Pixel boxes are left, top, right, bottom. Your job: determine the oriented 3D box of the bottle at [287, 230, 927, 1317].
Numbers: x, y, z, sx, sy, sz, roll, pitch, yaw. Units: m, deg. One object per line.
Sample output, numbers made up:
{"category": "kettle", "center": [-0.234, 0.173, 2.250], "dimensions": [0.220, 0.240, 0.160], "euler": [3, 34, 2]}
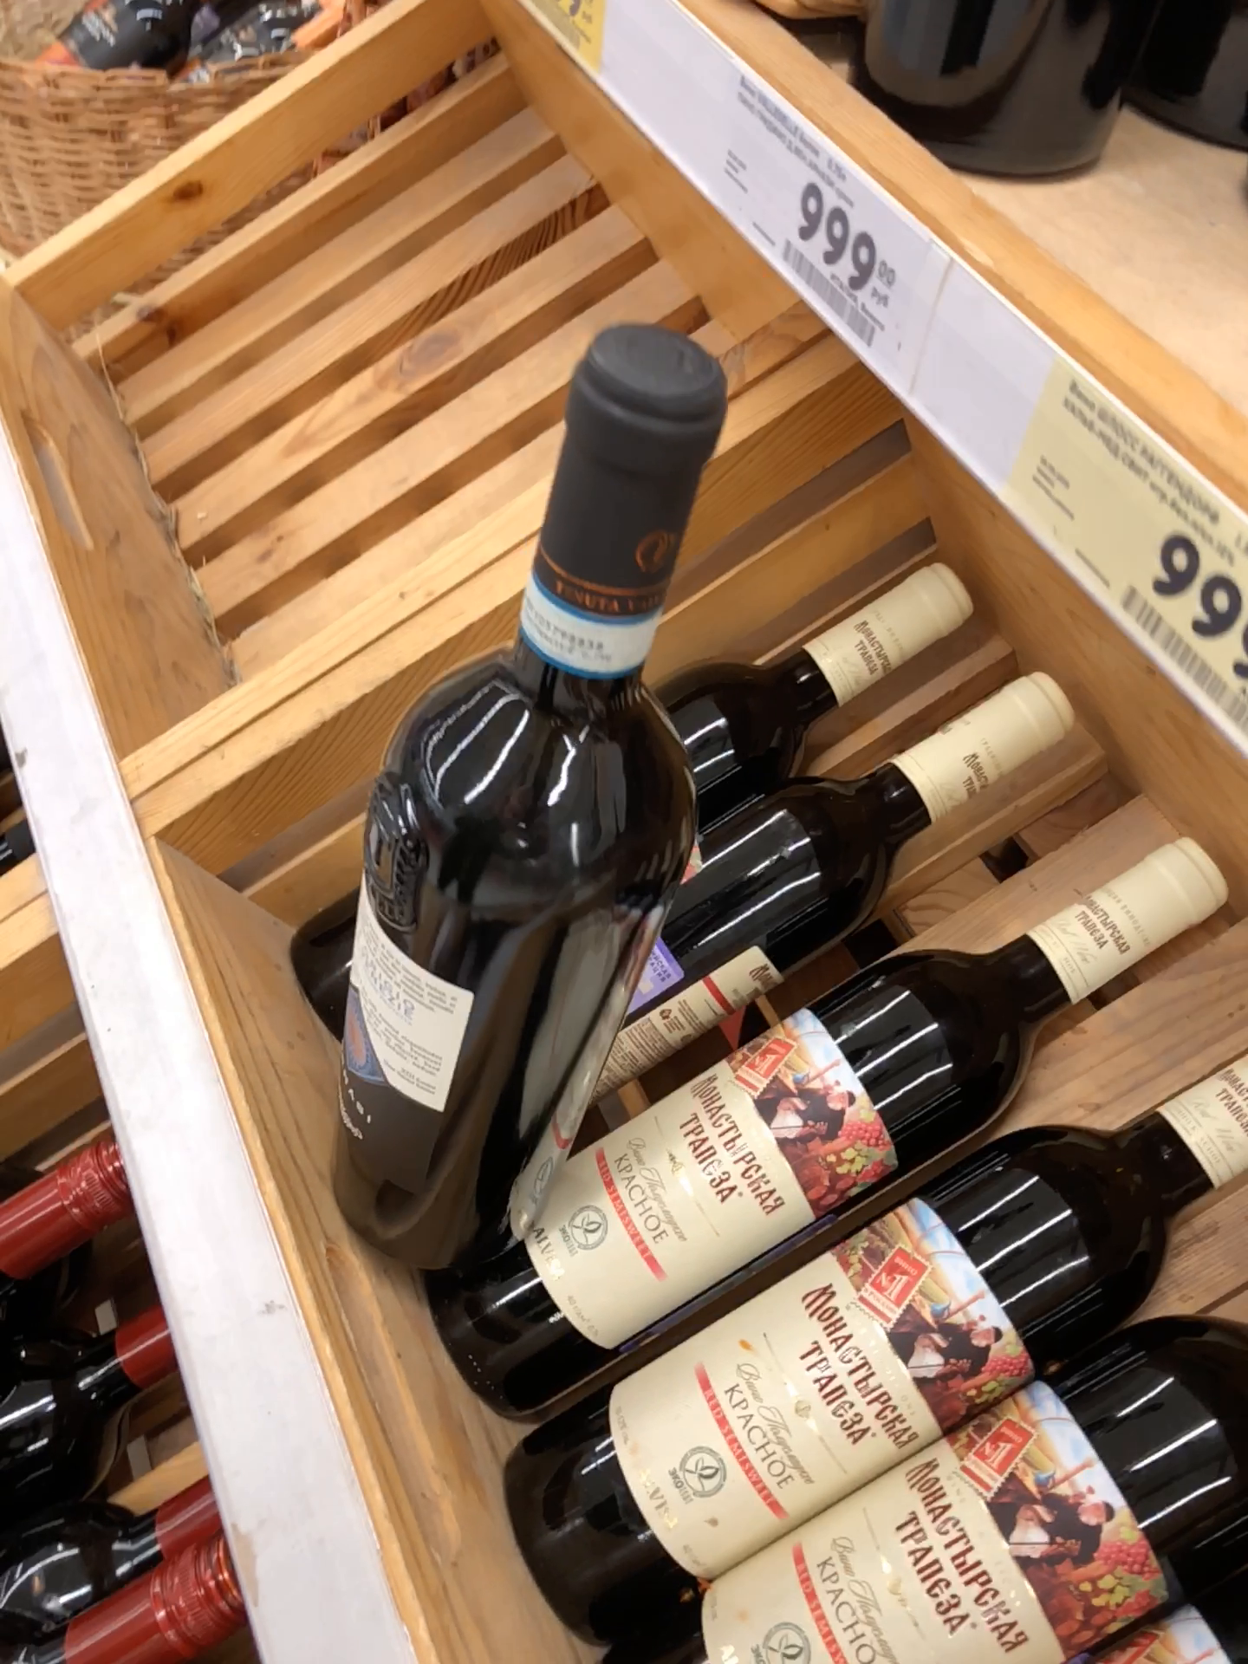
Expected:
{"category": "bottle", "center": [-0.032, 0.012, 0.381], "dimensions": [0.080, 0.318, 0.090], "euler": [-10, 52, -26]}
